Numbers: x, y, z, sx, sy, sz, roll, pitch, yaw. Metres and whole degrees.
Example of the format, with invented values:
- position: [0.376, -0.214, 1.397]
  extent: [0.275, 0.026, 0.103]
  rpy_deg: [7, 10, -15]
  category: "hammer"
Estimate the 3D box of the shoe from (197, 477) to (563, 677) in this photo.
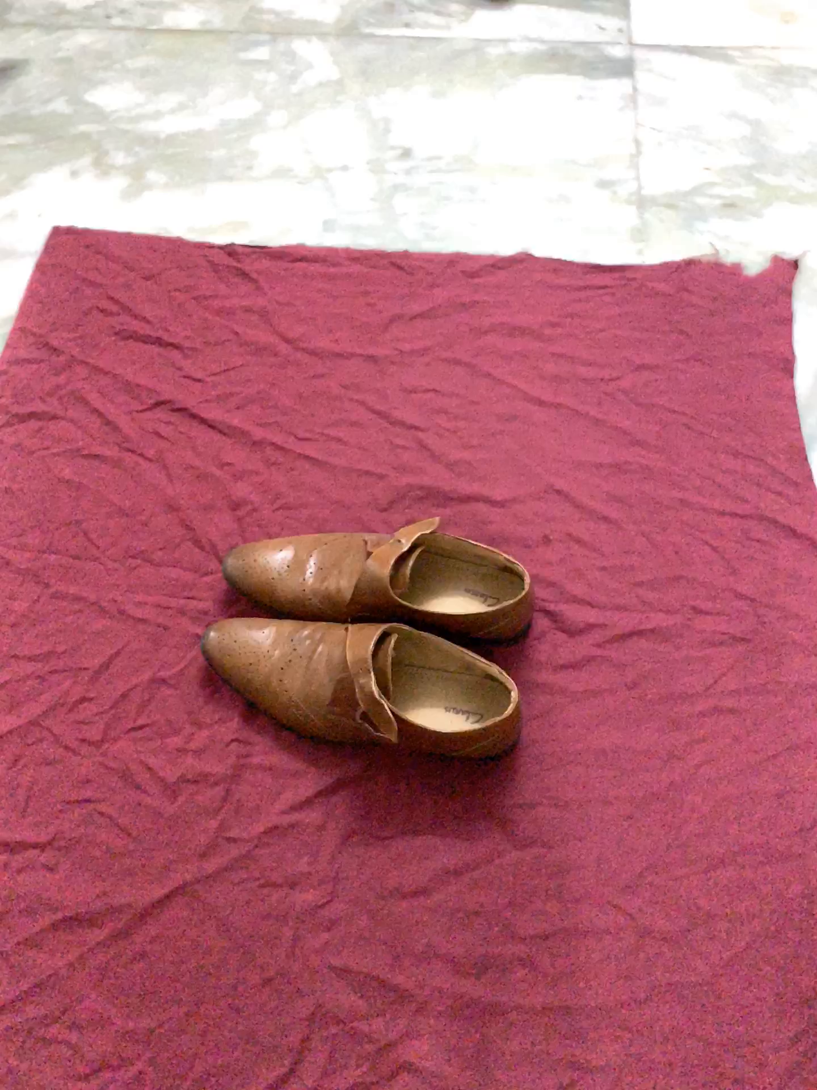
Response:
- position: [-0.022, 0.029, 0.760]
  extent: [0.300, 0.090, 0.100]
  rpy_deg: [10, 64, 7]
  category: "shoe"

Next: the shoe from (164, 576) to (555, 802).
- position: [-0.039, 0.126, 0.738]
  extent: [0.310, 0.090, 0.100]
  rpy_deg: [13, 64, 8]
  category: "shoe"
